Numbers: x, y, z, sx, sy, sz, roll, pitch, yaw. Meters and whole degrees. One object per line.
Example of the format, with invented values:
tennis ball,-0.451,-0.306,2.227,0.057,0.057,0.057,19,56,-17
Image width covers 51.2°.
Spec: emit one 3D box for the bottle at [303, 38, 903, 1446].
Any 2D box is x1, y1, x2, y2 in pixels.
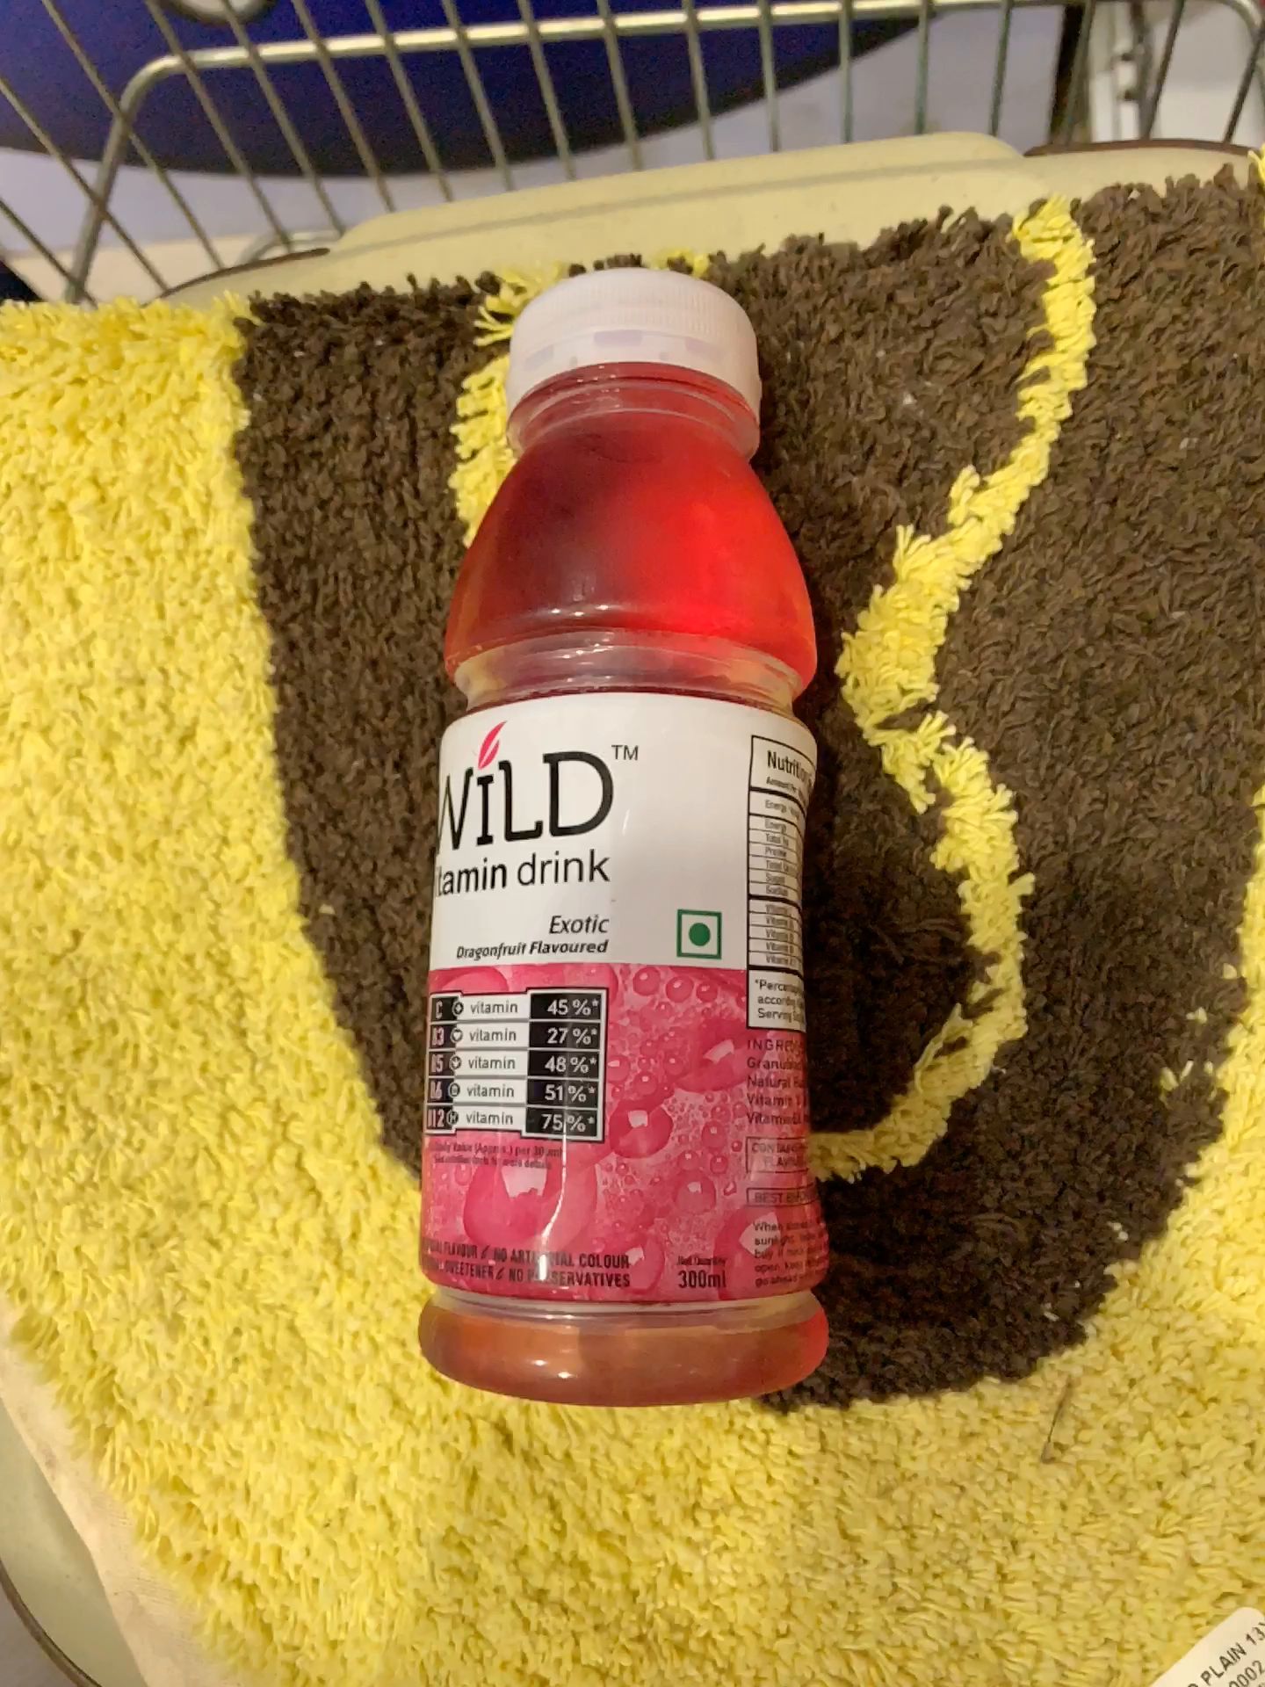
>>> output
bottle,-0.001,-0.014,0.190,0.060,0.050,0.170,-7,75,33
